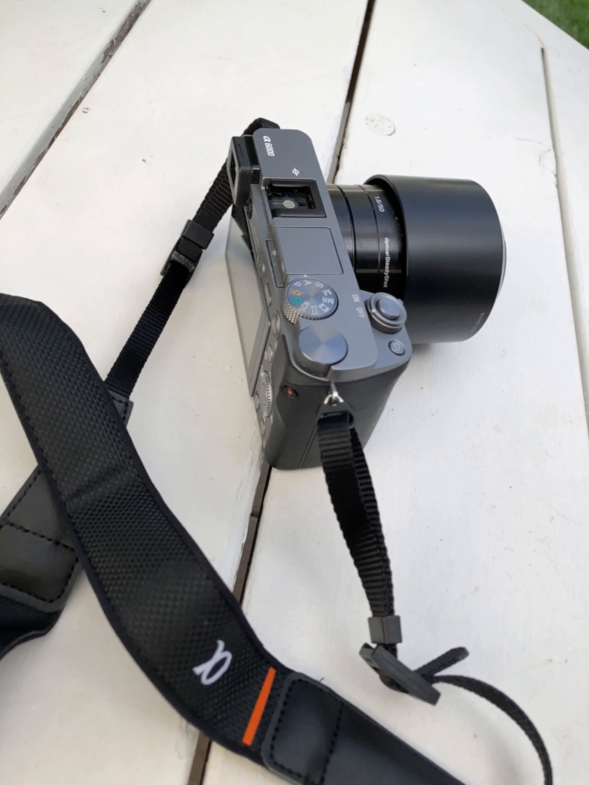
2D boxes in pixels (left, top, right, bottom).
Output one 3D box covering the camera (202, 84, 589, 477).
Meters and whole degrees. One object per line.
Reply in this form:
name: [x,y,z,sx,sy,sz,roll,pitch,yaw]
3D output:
camera: [0.030,-0.049,0.265,0.110,0.070,0.140,-3,54,-17]
